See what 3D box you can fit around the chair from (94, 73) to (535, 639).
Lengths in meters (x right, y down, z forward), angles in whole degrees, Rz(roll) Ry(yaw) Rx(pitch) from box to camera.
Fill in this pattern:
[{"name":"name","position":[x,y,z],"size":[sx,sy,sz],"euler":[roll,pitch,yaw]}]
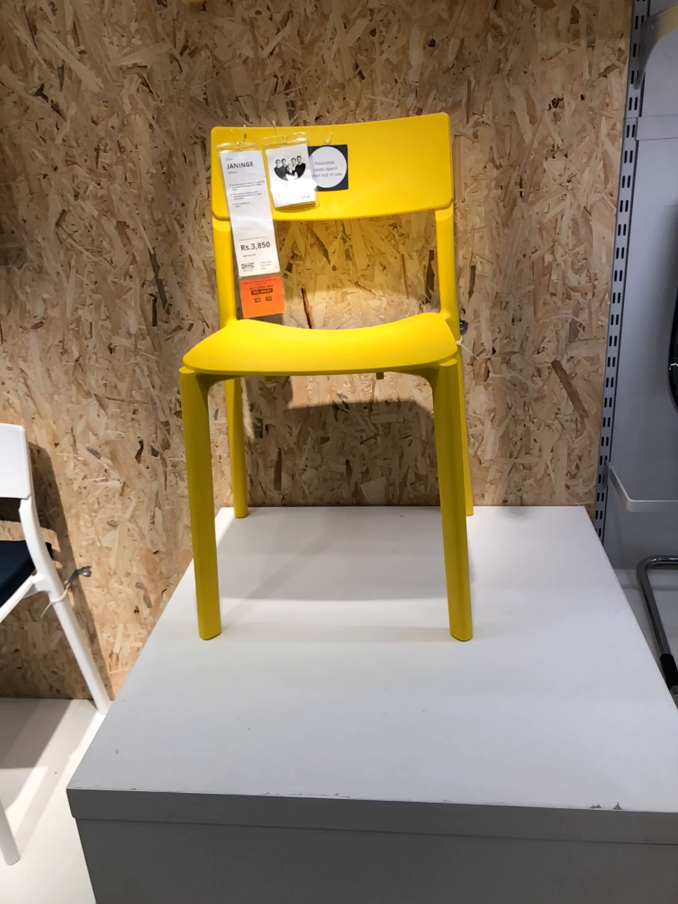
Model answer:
[{"name":"chair","position":[0.006,-0.147,1.107],"size":[0.460,0.676,0.462],"euler":[-2,21,5]}]
